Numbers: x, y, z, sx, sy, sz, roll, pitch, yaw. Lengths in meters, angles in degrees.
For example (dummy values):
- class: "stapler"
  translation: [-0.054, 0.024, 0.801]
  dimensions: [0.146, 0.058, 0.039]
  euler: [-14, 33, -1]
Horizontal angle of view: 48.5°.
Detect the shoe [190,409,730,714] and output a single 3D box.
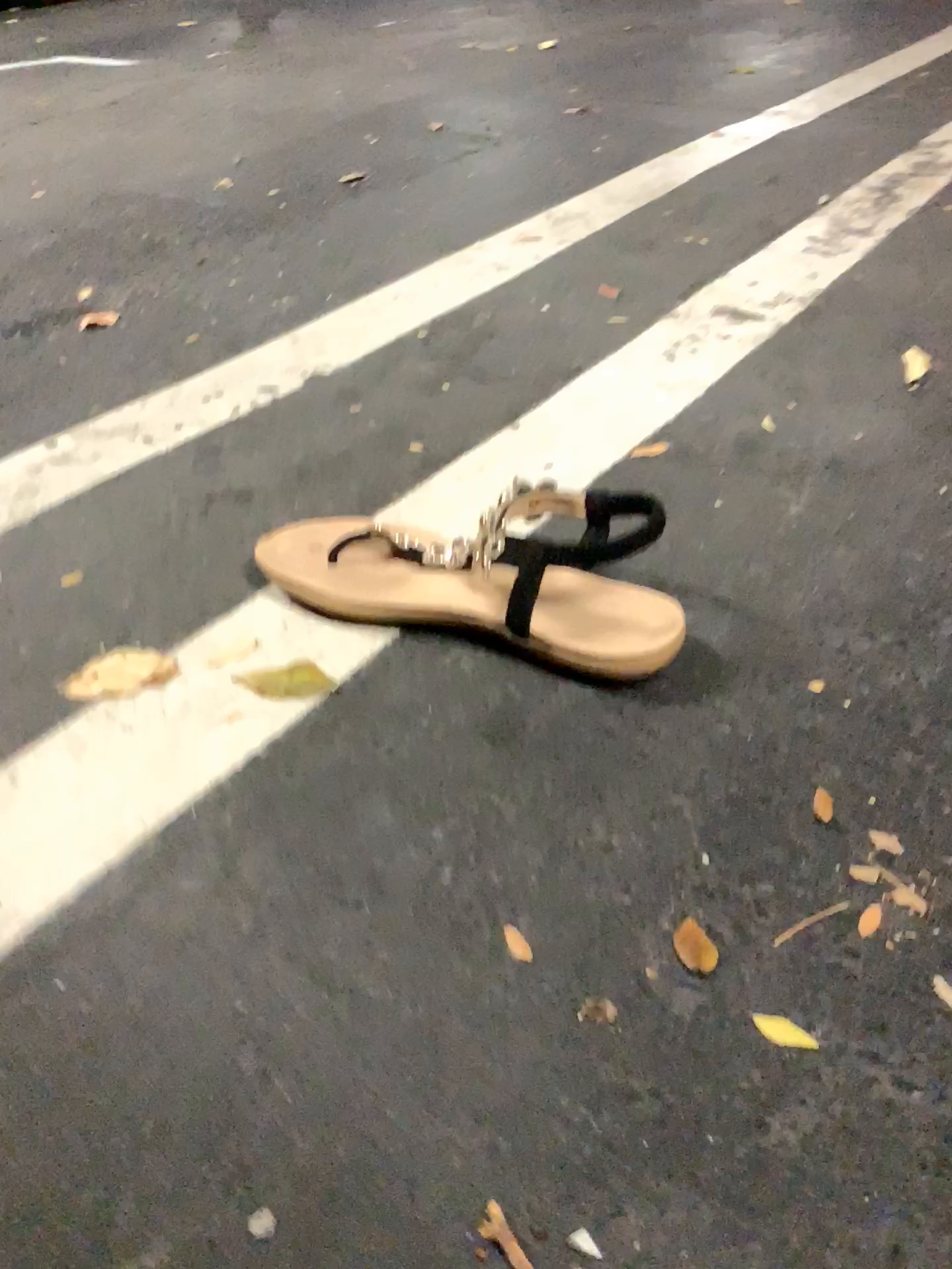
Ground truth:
- class: "shoe"
  translation: [-0.009, -0.051, 0.578]
  dimensions: [0.260, 0.060, 0.120]
  euler: [15, 42, 23]
